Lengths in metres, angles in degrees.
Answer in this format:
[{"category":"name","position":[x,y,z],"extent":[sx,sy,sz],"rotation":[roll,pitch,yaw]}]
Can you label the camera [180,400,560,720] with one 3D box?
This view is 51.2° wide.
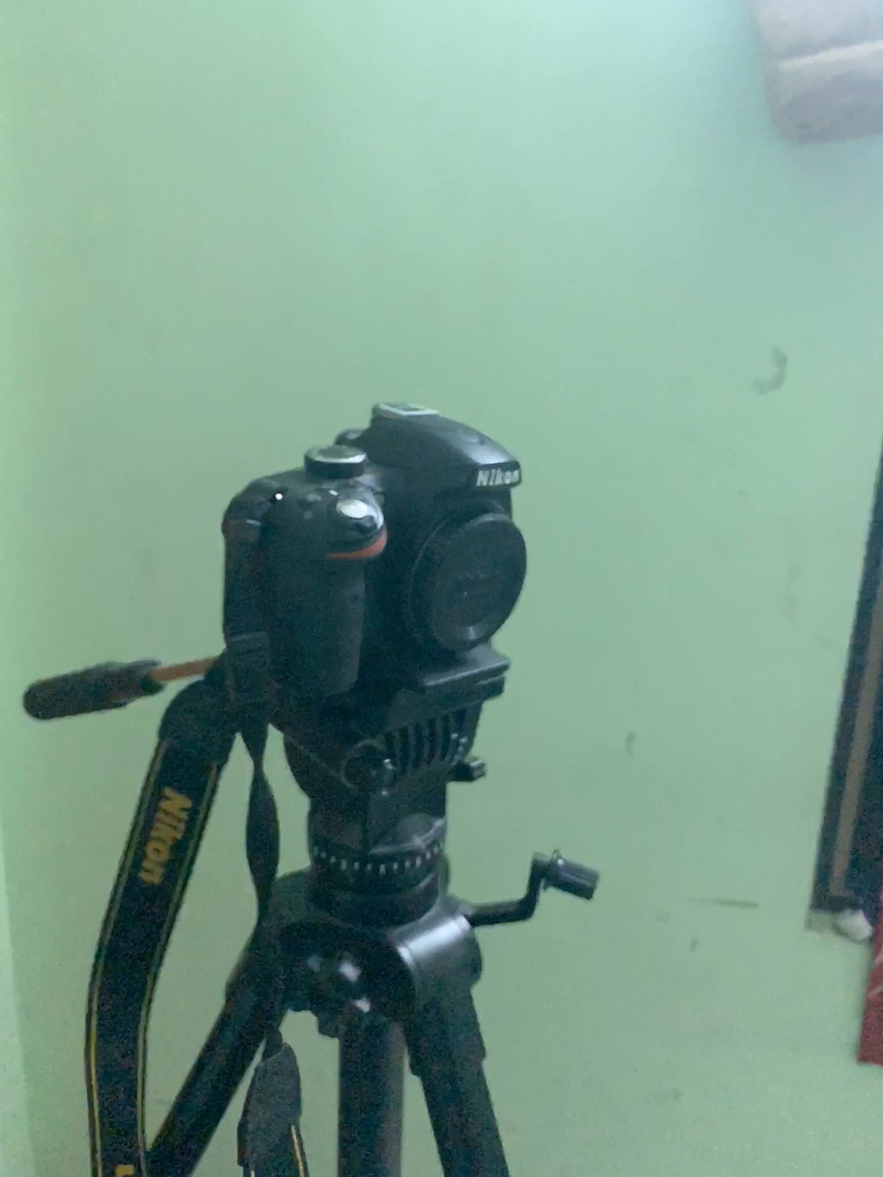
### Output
[{"category":"camera","position":[-0.027,-0.021,0.365],"extent":[0.086,0.096,0.118],"rotation":[17,21,42]}]
